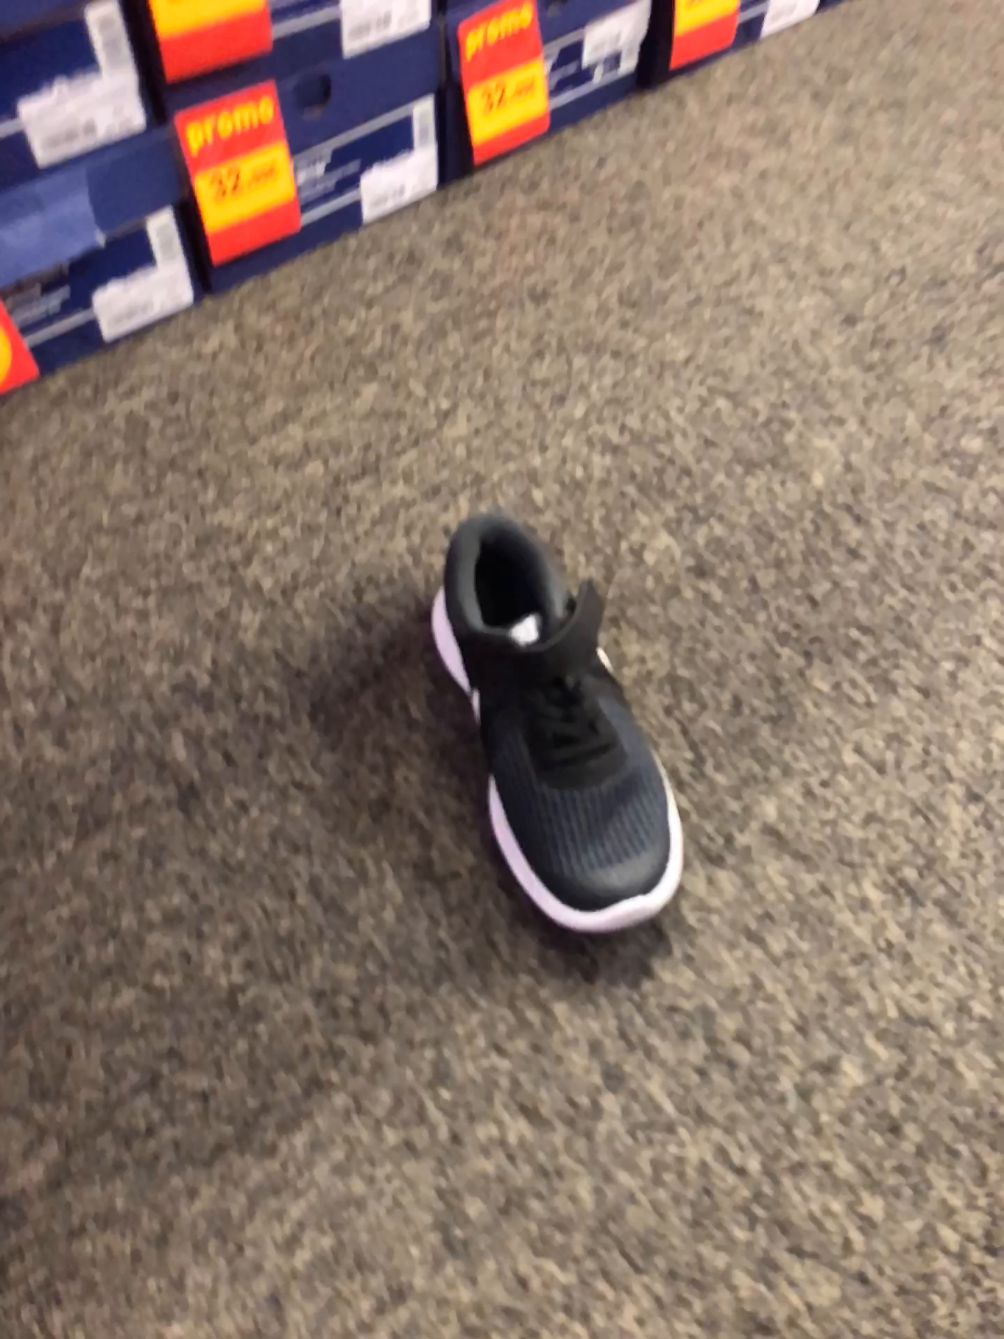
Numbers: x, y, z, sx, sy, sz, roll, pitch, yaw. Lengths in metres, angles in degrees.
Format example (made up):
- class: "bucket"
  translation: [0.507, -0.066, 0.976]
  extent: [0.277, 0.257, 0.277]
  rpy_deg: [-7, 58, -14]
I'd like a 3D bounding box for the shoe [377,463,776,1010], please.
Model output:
- class: "shoe"
  translation: [0.022, 0.023, 0.490]
  extent: [0.090, 0.080, 0.218]
  rpy_deg: [-17, 60, -12]
